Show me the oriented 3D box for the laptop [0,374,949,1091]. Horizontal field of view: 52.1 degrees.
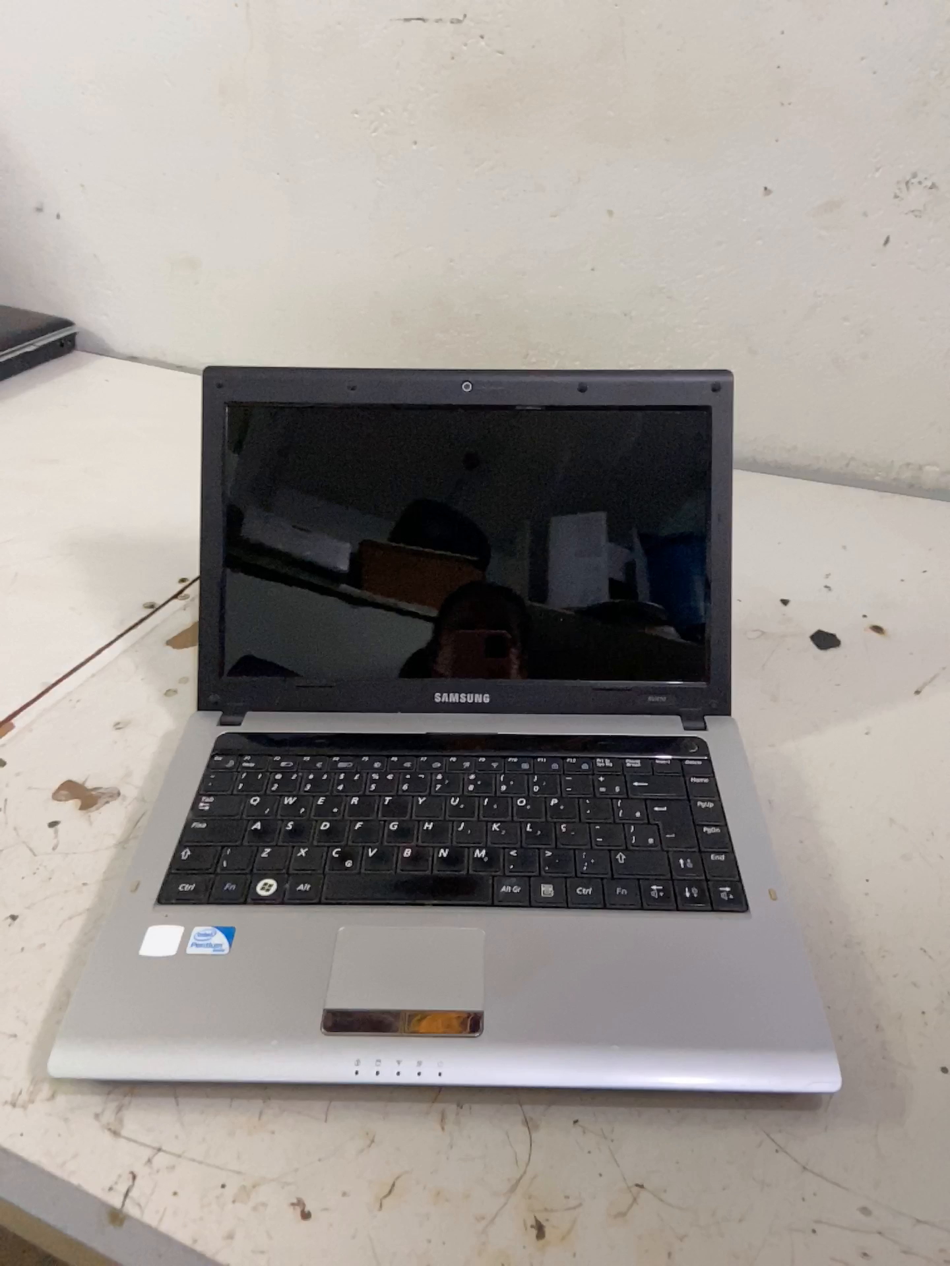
[{"bbox_3d":[-0.007,0.013,0.505,0.334,0.172,0.364,1,34,1],"label":"laptop"}]
